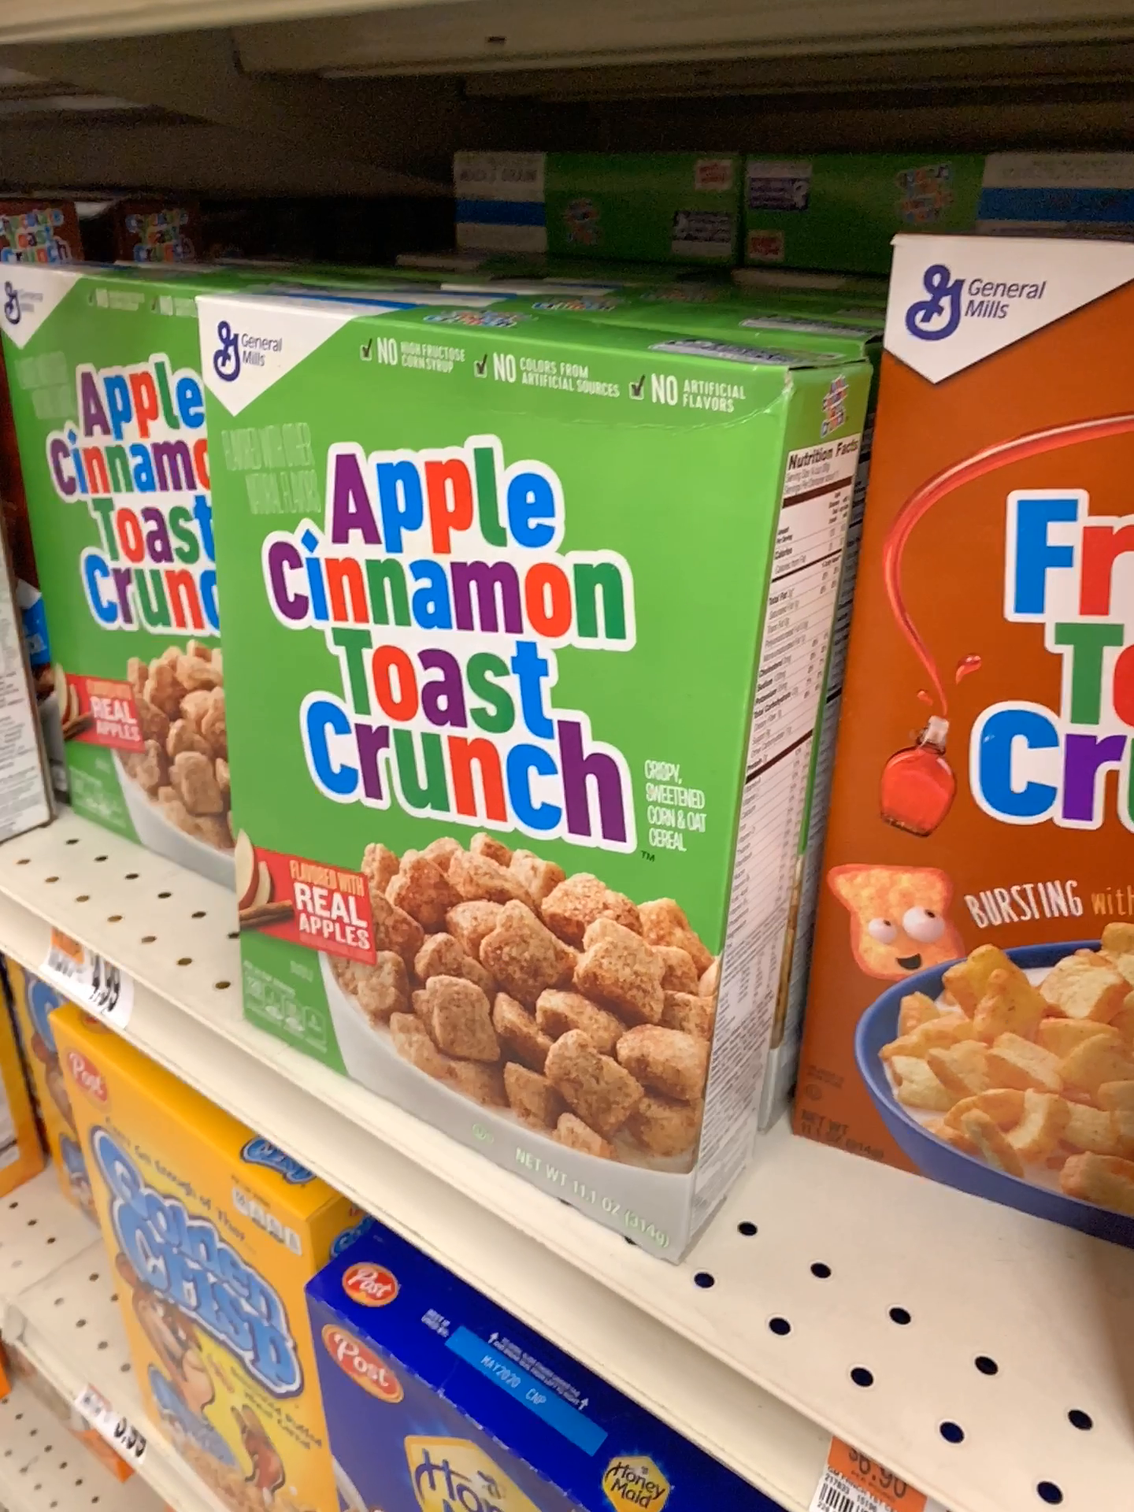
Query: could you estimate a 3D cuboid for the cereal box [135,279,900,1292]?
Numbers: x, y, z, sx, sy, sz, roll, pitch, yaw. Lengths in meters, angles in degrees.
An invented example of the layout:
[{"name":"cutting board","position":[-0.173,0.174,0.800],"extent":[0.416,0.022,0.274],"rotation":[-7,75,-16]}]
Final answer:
[{"name":"cereal box","position":[-0.027,0.003,0.372],"extent":[0.210,0.269,0.060],"rotation":[19,31,30]}]
